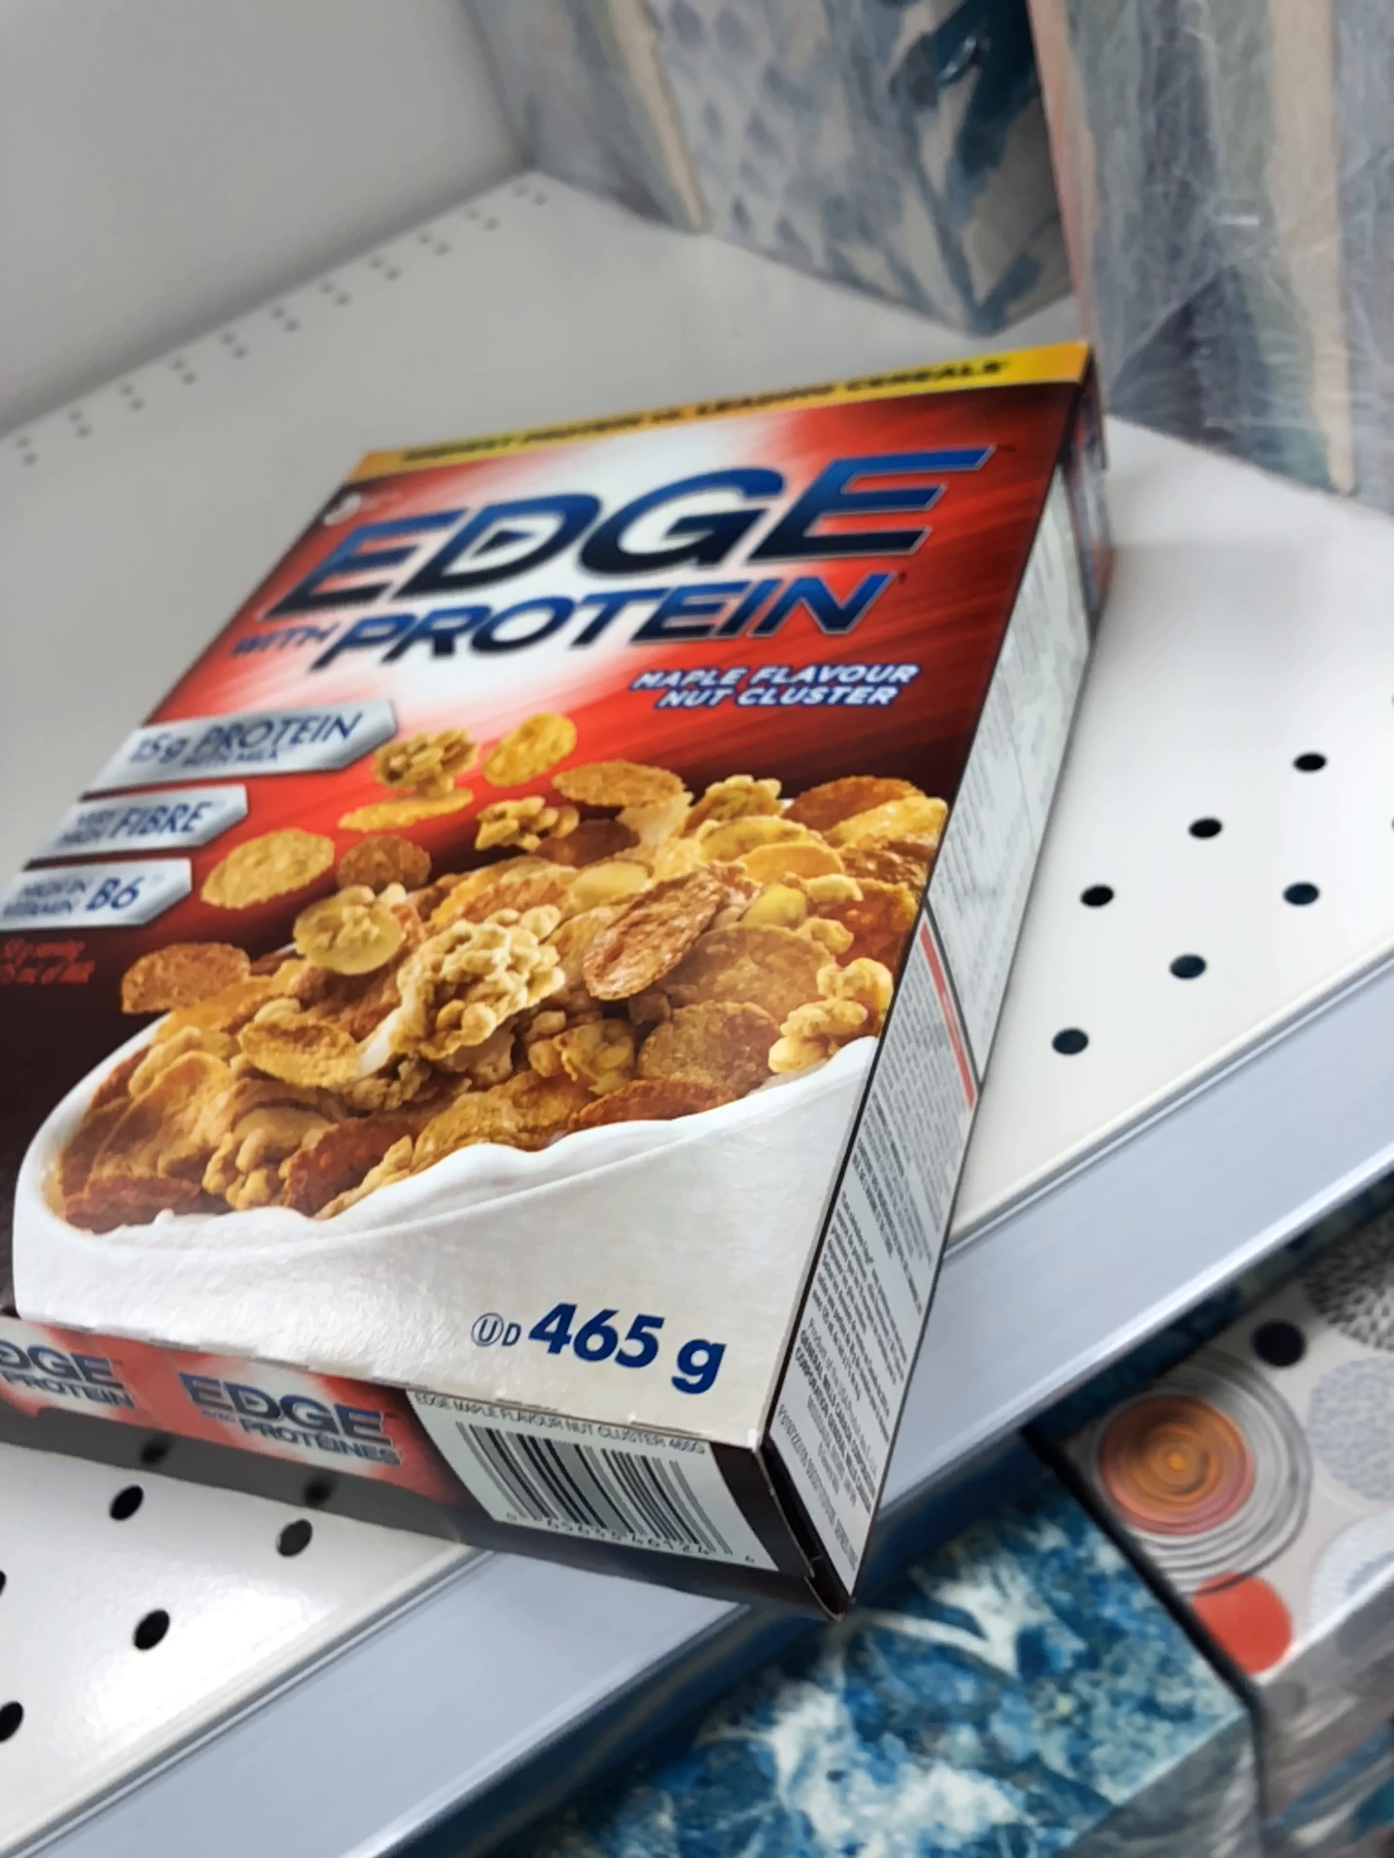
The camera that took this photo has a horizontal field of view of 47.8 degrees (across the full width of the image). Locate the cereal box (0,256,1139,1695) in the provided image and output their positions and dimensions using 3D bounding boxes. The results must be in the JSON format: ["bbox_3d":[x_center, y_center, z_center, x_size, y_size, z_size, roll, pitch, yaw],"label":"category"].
[{"bbox_3d":[-0.049,-0.025,0.302,0.220,0.050,0.271,1,46,26],"label":"cereal box"}]
